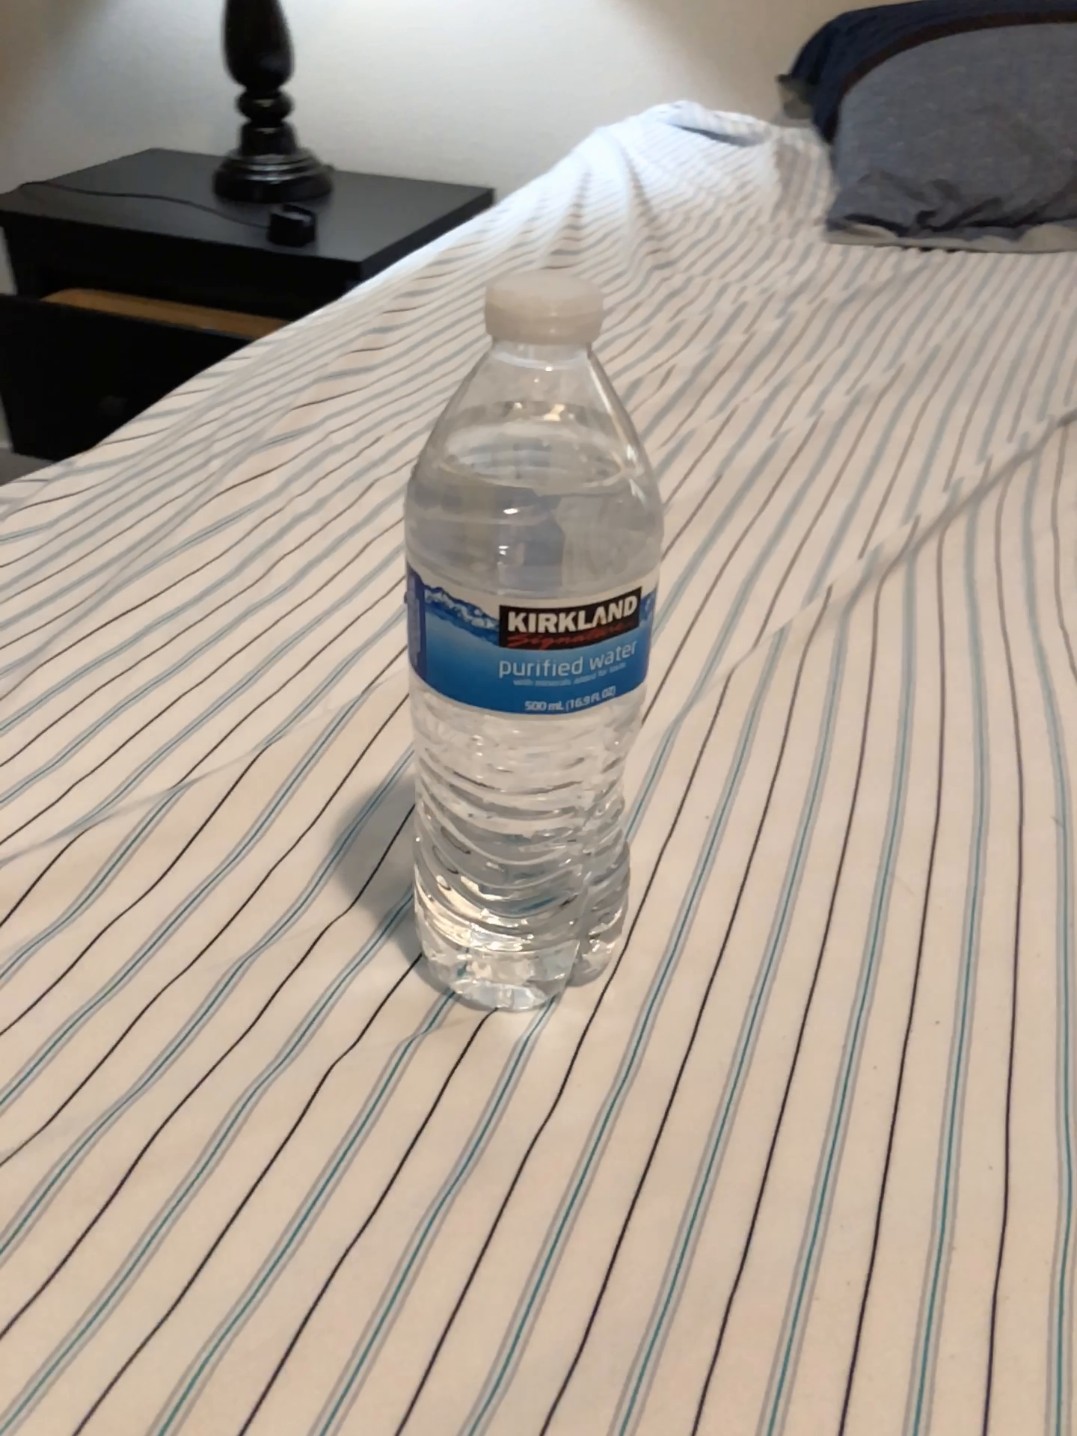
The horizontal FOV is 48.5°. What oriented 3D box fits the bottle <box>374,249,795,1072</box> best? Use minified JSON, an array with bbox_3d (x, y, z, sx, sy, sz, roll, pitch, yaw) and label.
[{"bbox_3d":[0.005,-0.007,0.312,0.070,0.199,0.070,1,36,-1],"label":"bottle"}]
